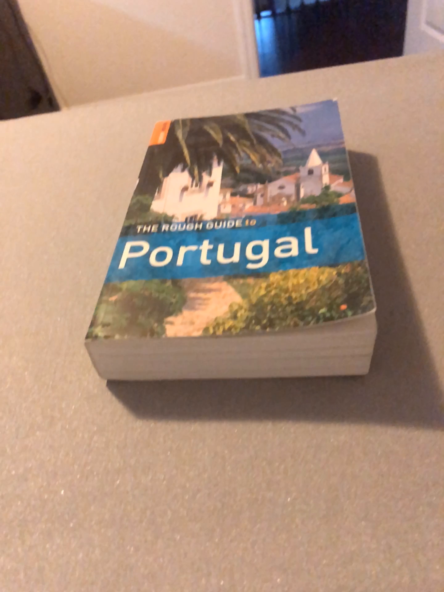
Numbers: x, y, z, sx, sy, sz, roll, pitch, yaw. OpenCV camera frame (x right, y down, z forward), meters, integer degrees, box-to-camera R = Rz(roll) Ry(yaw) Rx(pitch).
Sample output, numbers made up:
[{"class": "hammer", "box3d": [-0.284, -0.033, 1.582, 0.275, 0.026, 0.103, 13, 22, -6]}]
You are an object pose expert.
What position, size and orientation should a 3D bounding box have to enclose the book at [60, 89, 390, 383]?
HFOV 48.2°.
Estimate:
[{"class": "book", "box3d": [0.007, -0.049, 0.291, 0.139, 0.040, 0.205, -3, 46, 9]}]
